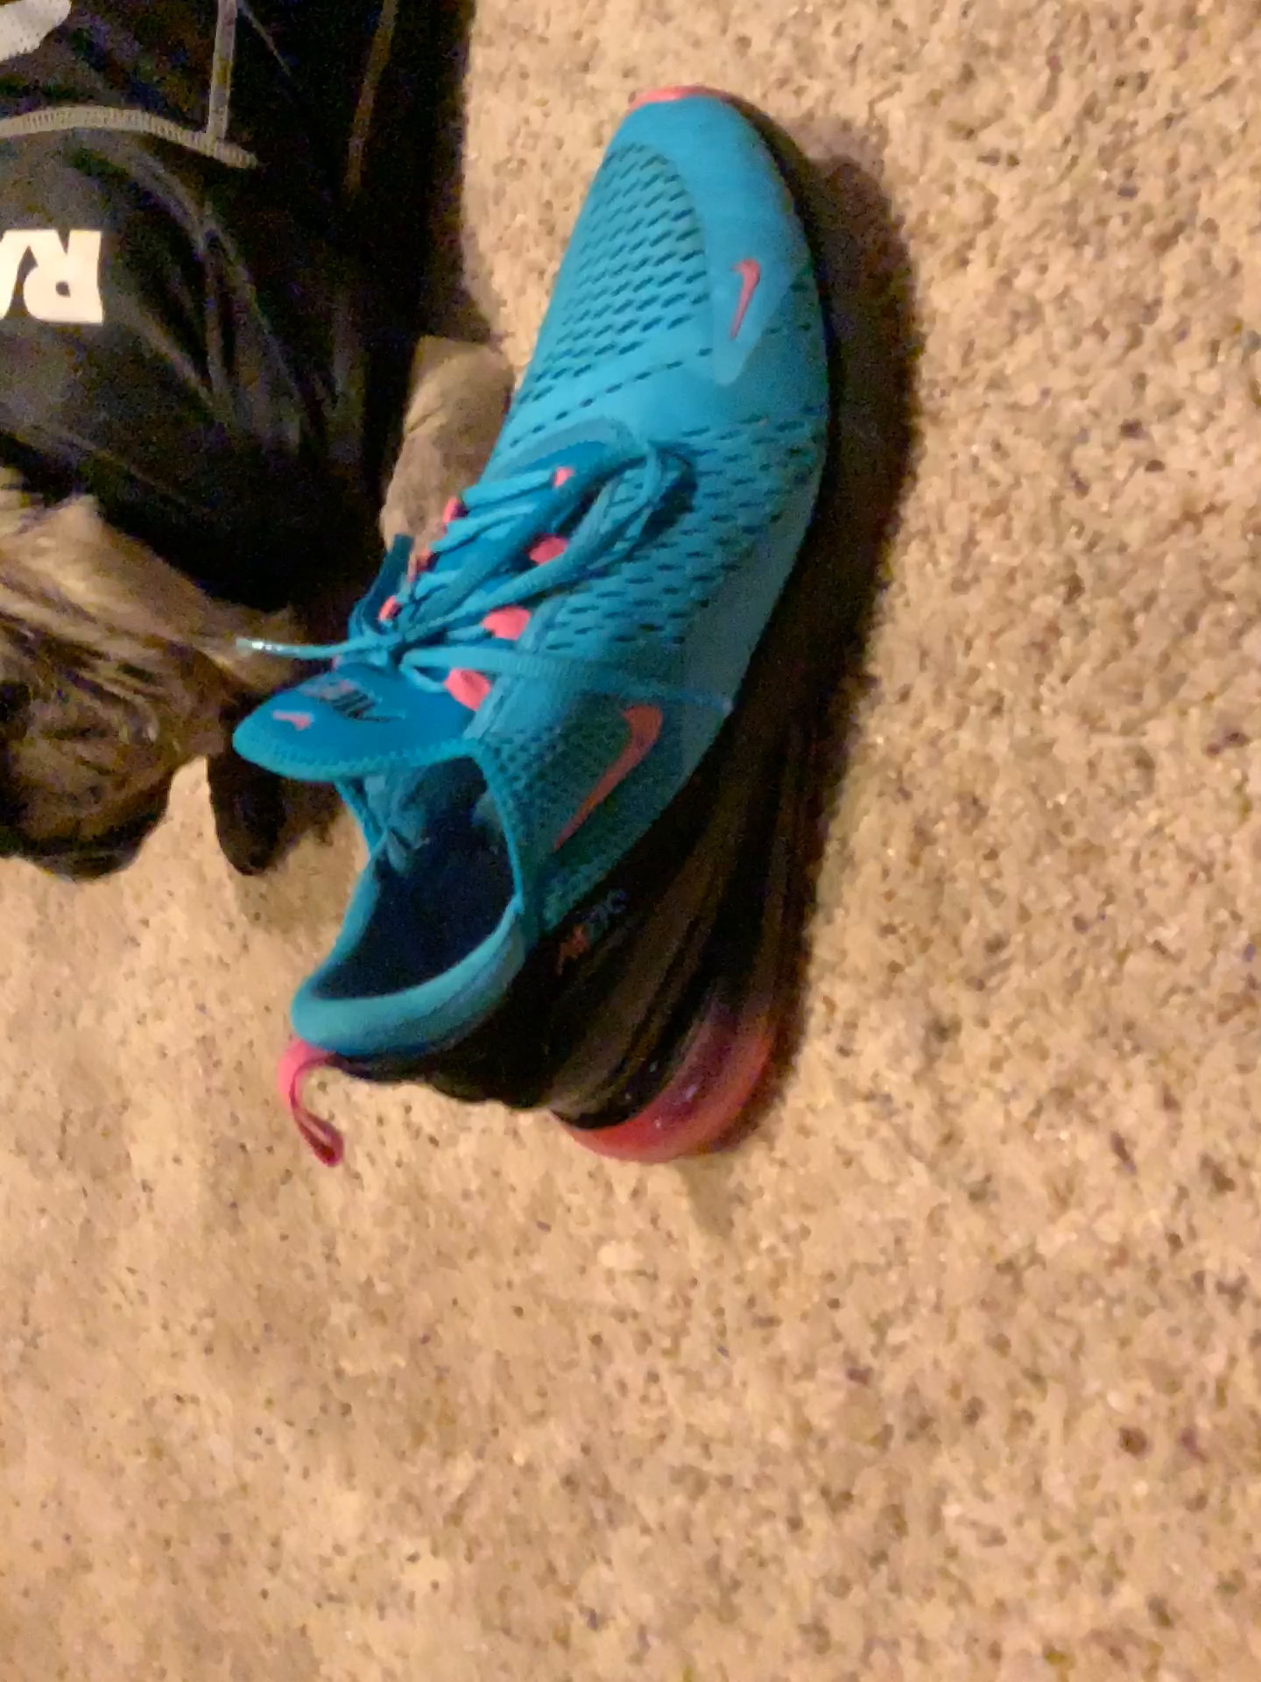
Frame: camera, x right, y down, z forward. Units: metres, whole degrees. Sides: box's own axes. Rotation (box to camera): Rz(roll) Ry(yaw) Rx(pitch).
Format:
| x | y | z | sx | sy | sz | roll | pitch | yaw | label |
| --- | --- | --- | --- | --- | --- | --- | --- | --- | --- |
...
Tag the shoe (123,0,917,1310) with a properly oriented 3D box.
| x | y | z | sx | sy | sz | roll | pitch | yaw | label |
| --- | --- | --- | --- | --- | --- | --- | --- | --- | --- |
| -0.036 | -0.068 | 0.394 | 0.130 | 0.140 | 0.340 | 10 | 95 | 51 | shoe |
